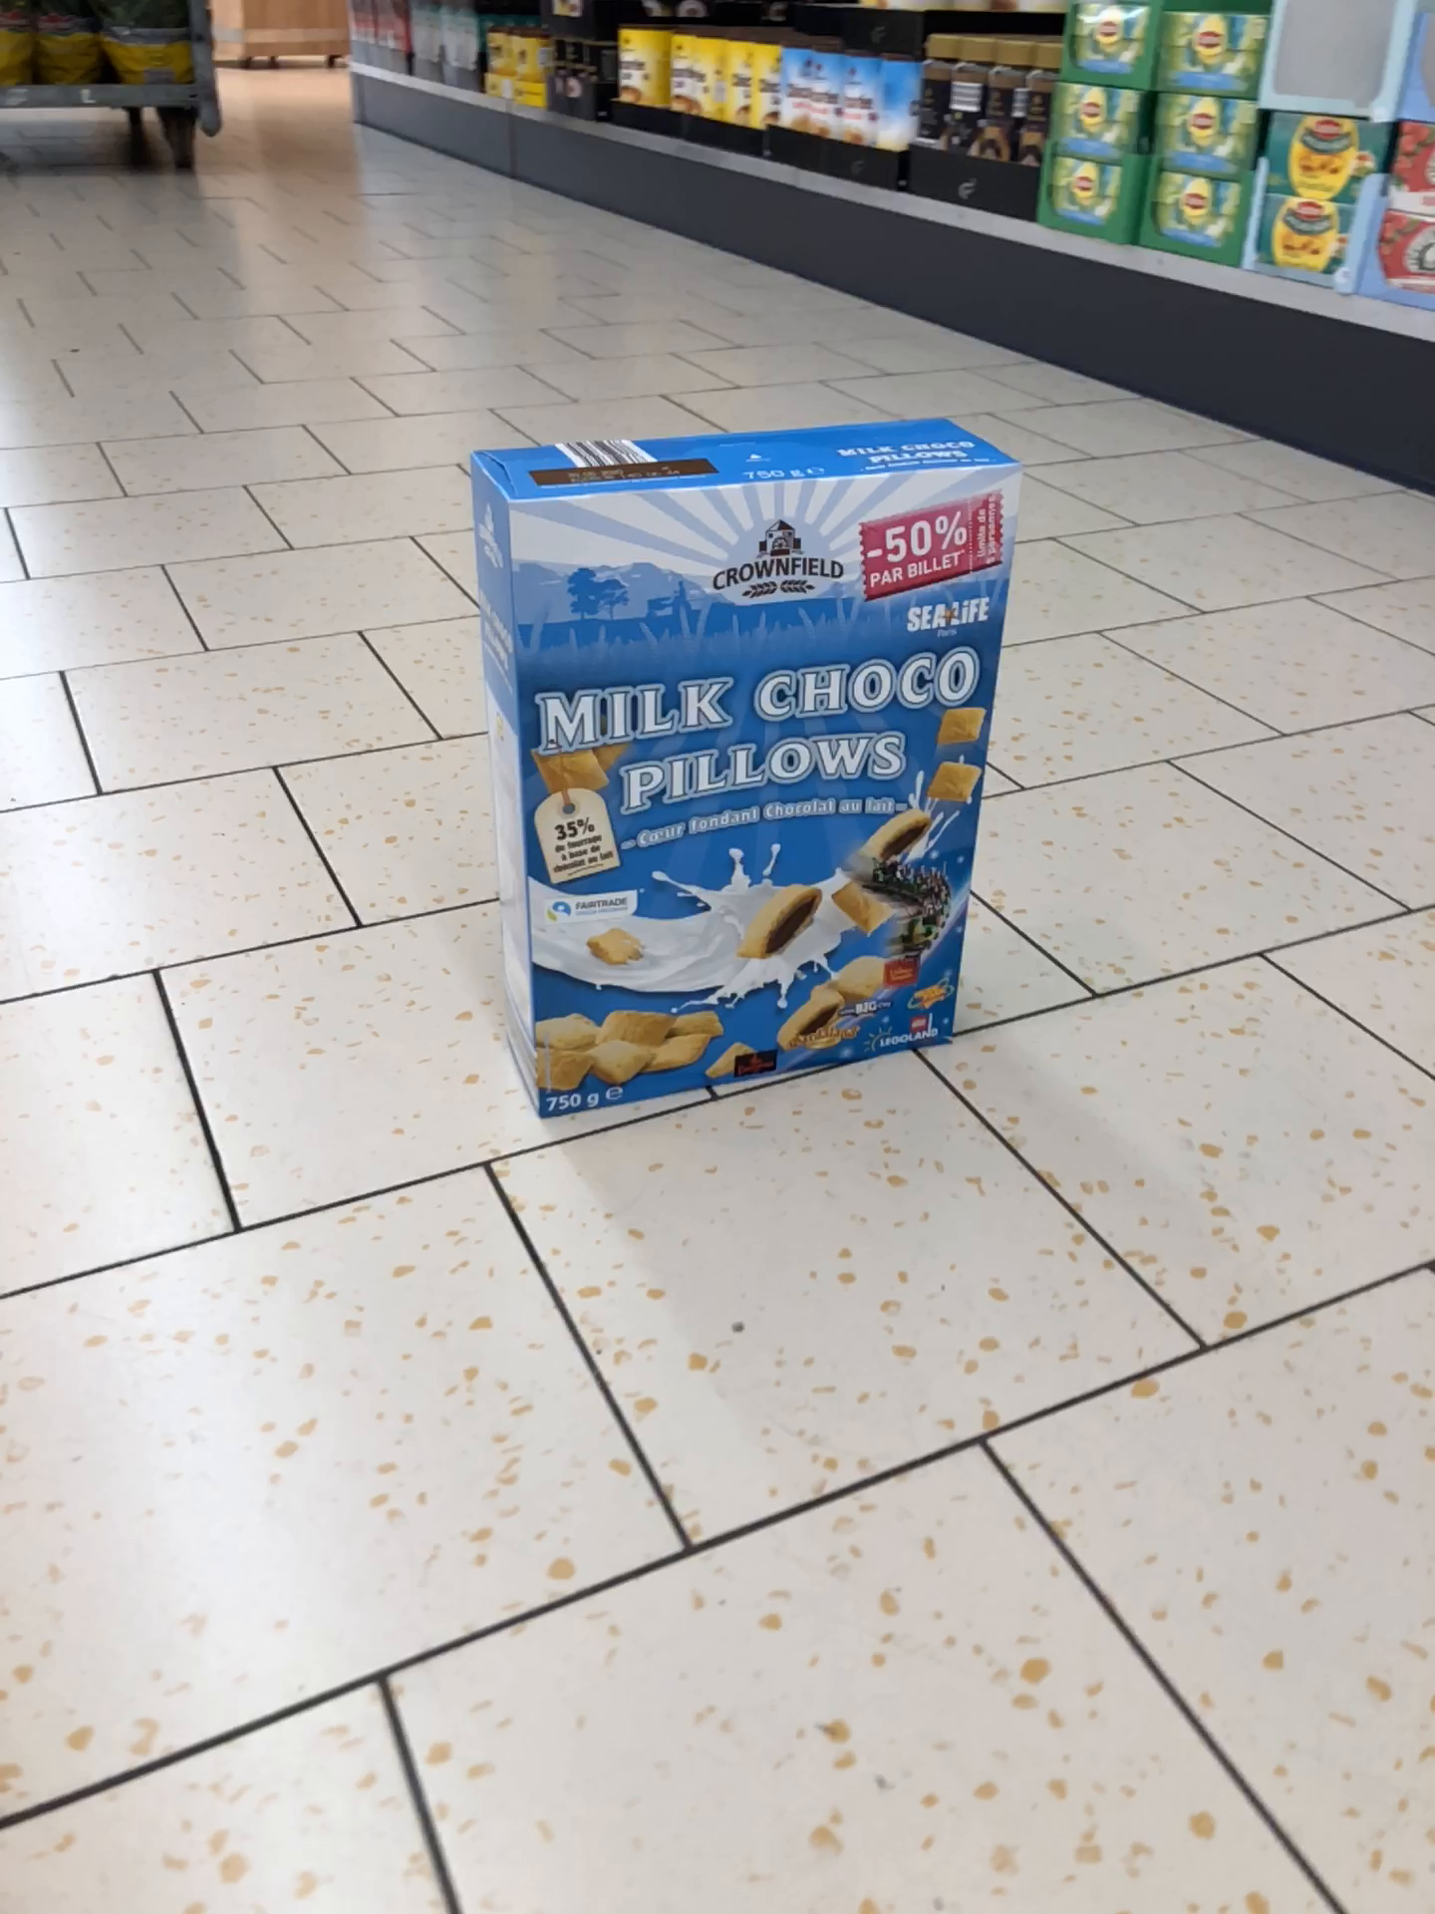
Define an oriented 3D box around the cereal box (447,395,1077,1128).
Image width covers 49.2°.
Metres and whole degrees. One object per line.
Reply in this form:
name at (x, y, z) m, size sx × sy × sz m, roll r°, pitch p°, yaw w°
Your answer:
cereal box at (0.012, -0.077, 0.625) m, size 0.210 × 0.258 × 0.080 m, roll -8°, pitch 32°, yaw -15°
